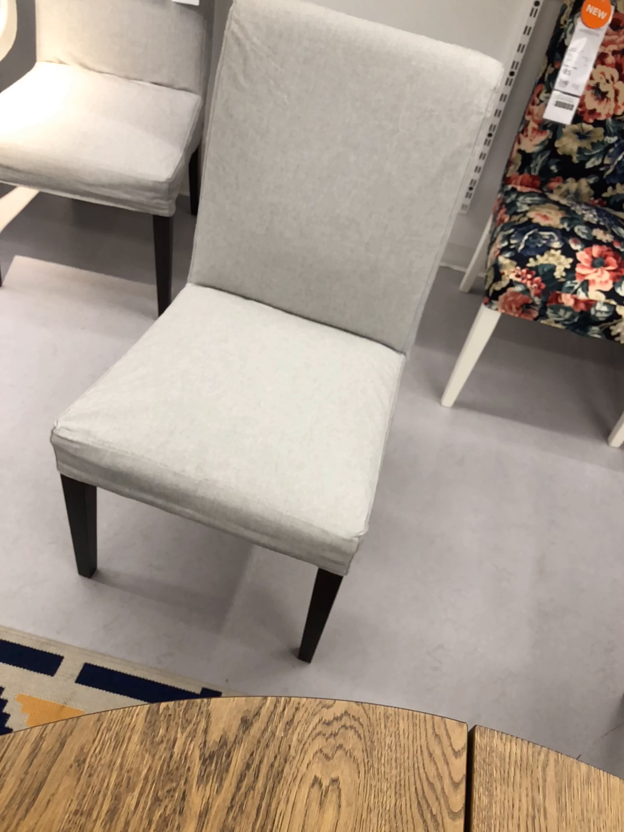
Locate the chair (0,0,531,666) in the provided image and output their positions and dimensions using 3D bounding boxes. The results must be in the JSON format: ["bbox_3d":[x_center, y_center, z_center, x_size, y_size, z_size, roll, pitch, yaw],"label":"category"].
[{"bbox_3d":[-0.100,-0.153,1.128,0.560,0.855,0.644,18,47,5],"label":"chair"}]
